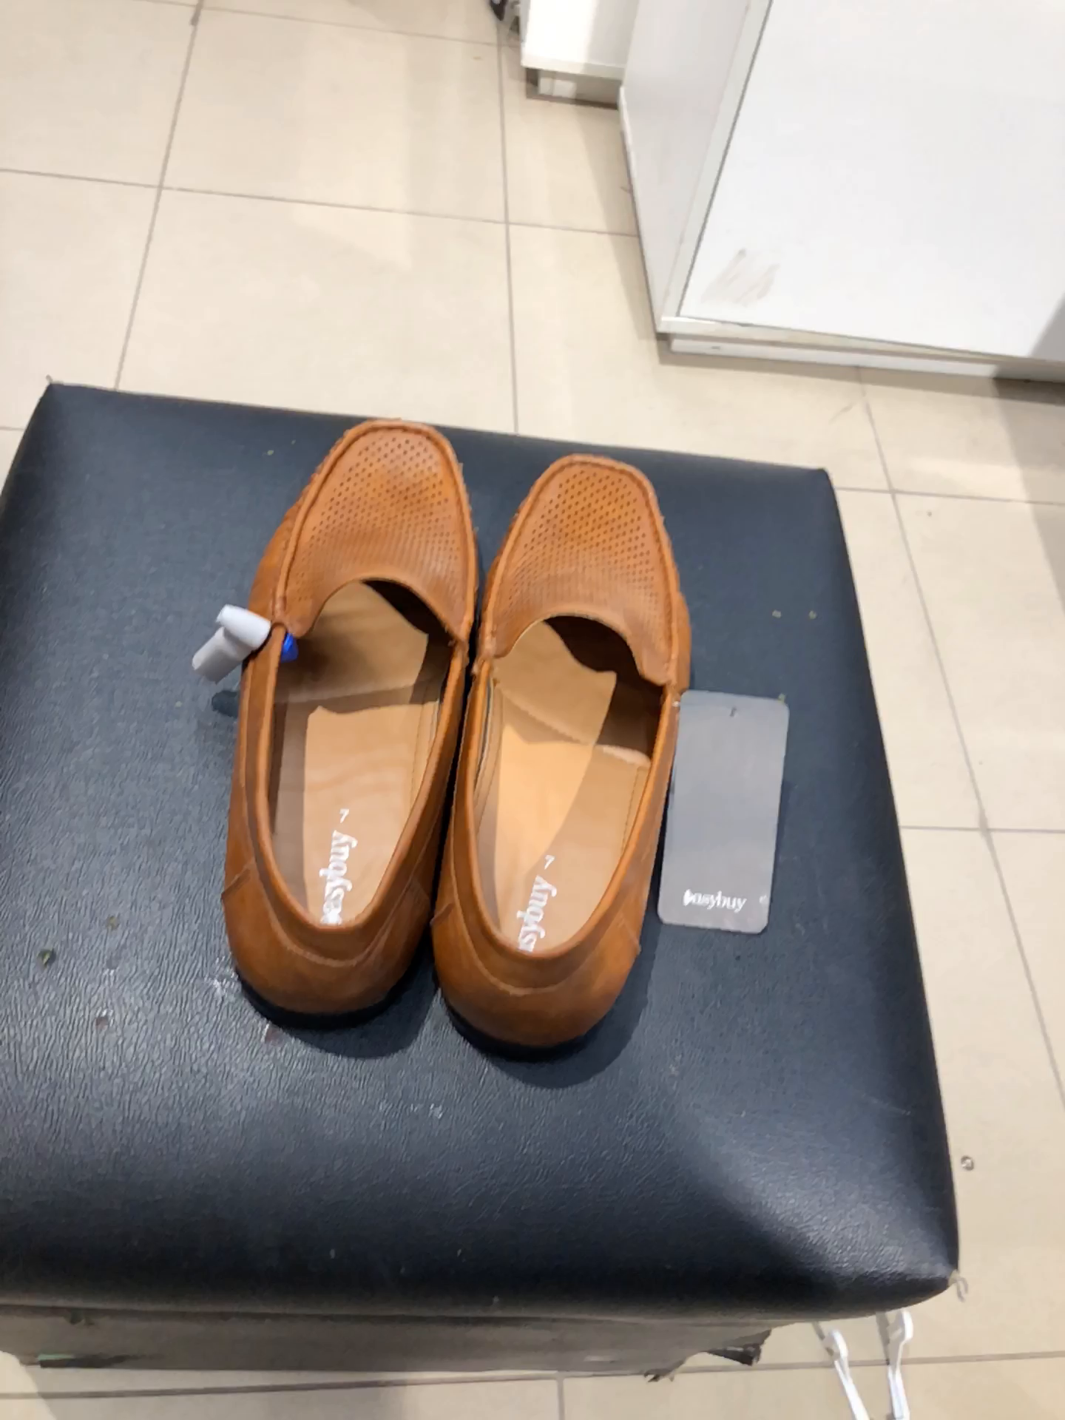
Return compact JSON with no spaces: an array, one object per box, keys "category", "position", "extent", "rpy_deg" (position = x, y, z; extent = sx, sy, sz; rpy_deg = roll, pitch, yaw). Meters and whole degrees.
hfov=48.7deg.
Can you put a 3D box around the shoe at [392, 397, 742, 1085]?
[{"category":"shoe","position":[0.019,0.004,0.477],"extent":[0.097,0.096,0.254],"rpy_deg":[11,56,-3]}]

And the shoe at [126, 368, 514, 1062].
[{"category":"shoe","position":[-0.072,-0.006,0.466],"extent":[0.097,0.096,0.254],"rpy_deg":[8,56,-5]}]
